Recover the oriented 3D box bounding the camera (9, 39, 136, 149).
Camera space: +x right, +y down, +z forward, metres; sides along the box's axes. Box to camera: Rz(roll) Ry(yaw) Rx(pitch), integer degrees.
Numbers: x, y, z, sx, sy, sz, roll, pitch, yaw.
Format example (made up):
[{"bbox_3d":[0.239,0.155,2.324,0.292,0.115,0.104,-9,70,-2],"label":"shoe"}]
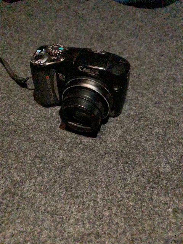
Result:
[{"bbox_3d":[-0.015,-0.032,0.220,0.108,0.079,0.070,13,52,8],"label":"camera"}]
